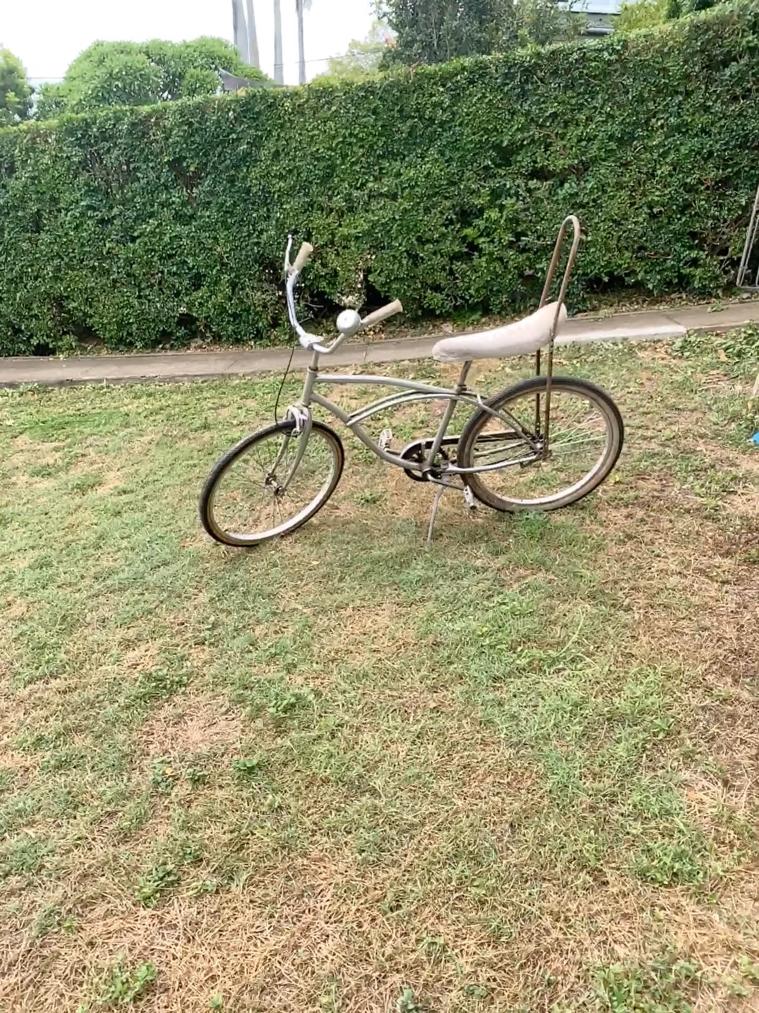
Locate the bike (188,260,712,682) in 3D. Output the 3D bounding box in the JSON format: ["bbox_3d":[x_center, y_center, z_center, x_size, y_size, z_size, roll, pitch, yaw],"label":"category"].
[{"bbox_3d":[0.148,-0.195,2.853,1.599,0.991,0.804,-9,23,-5],"label":"bike"}]
